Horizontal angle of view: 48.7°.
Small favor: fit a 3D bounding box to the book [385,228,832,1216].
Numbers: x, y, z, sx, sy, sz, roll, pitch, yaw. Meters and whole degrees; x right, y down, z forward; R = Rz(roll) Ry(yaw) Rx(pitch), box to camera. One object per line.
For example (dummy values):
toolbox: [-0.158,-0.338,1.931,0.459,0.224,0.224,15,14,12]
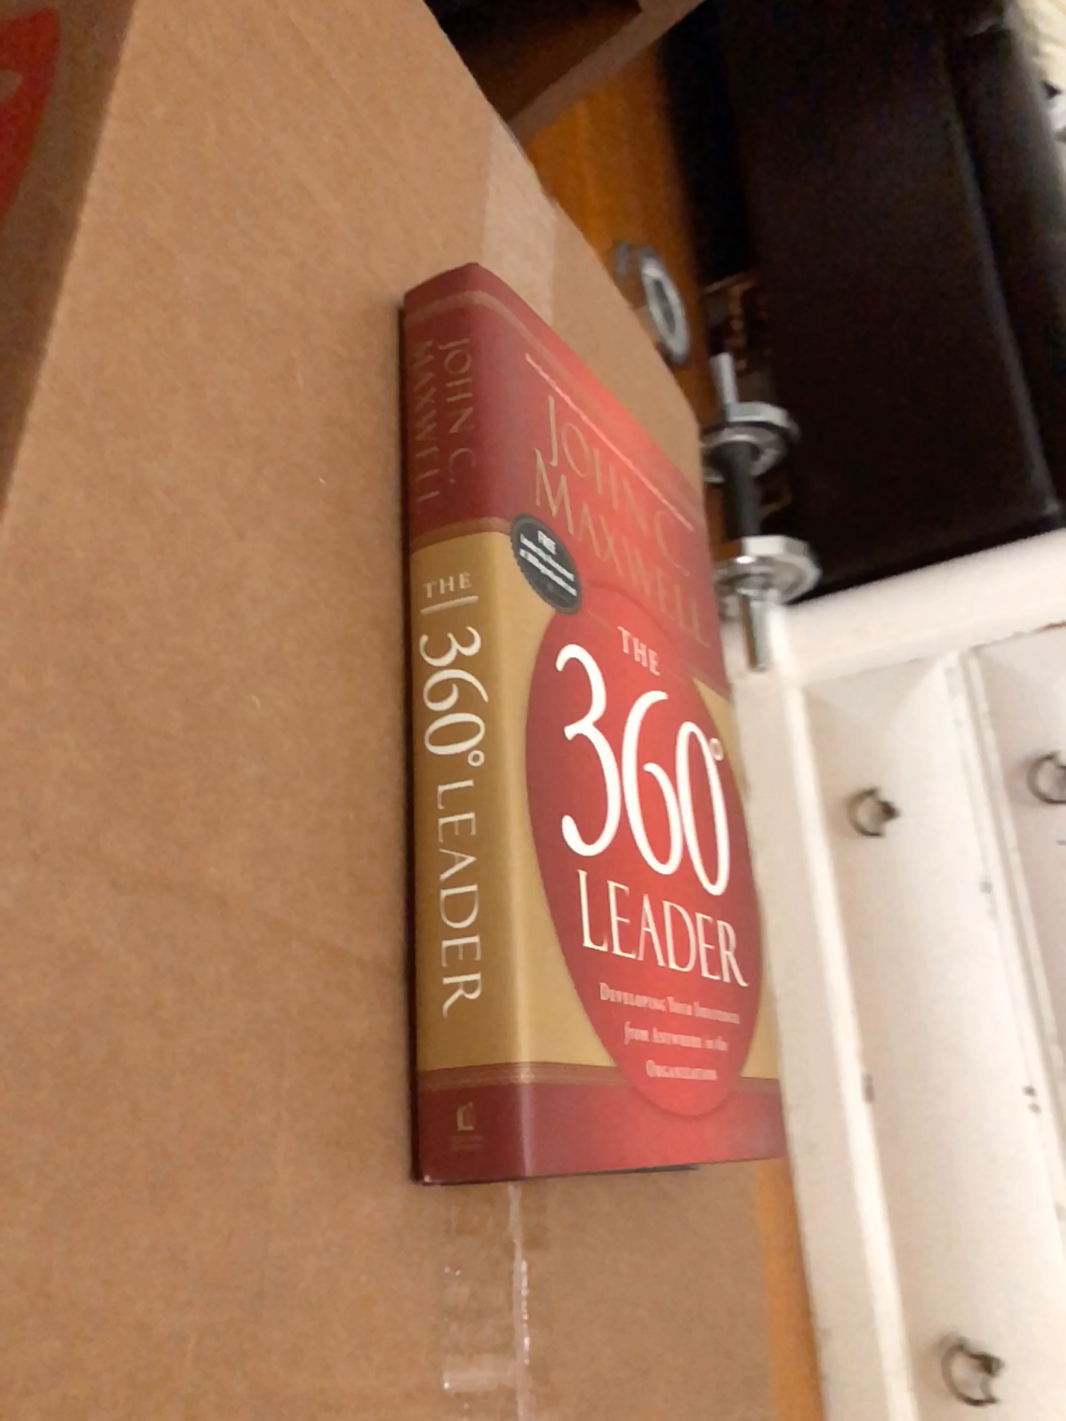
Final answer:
book: [0.026,0.013,0.347,0.181,0.030,0.240,30,50,-54]
